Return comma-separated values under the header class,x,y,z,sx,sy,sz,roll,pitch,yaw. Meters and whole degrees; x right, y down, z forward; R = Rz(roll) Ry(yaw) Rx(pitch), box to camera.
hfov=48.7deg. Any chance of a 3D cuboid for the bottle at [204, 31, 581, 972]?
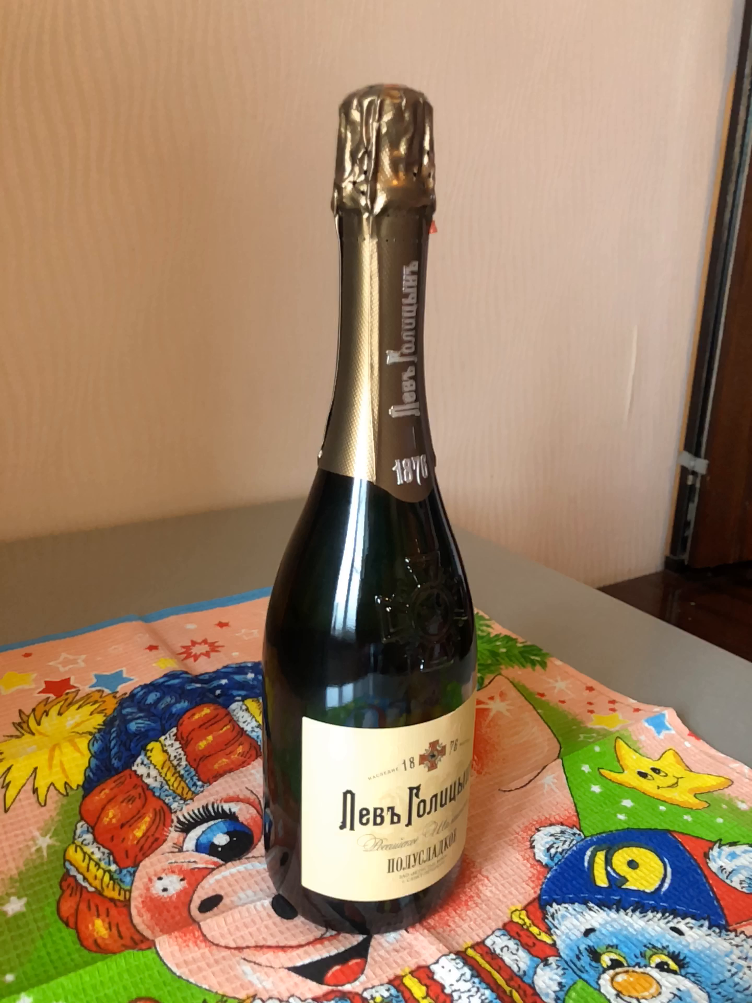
class,x,y,z,sx,sy,sz,roll,pitch,yaw
bottle,-0.002,0.007,0.321,0.090,0.309,0.093,1,17,0
